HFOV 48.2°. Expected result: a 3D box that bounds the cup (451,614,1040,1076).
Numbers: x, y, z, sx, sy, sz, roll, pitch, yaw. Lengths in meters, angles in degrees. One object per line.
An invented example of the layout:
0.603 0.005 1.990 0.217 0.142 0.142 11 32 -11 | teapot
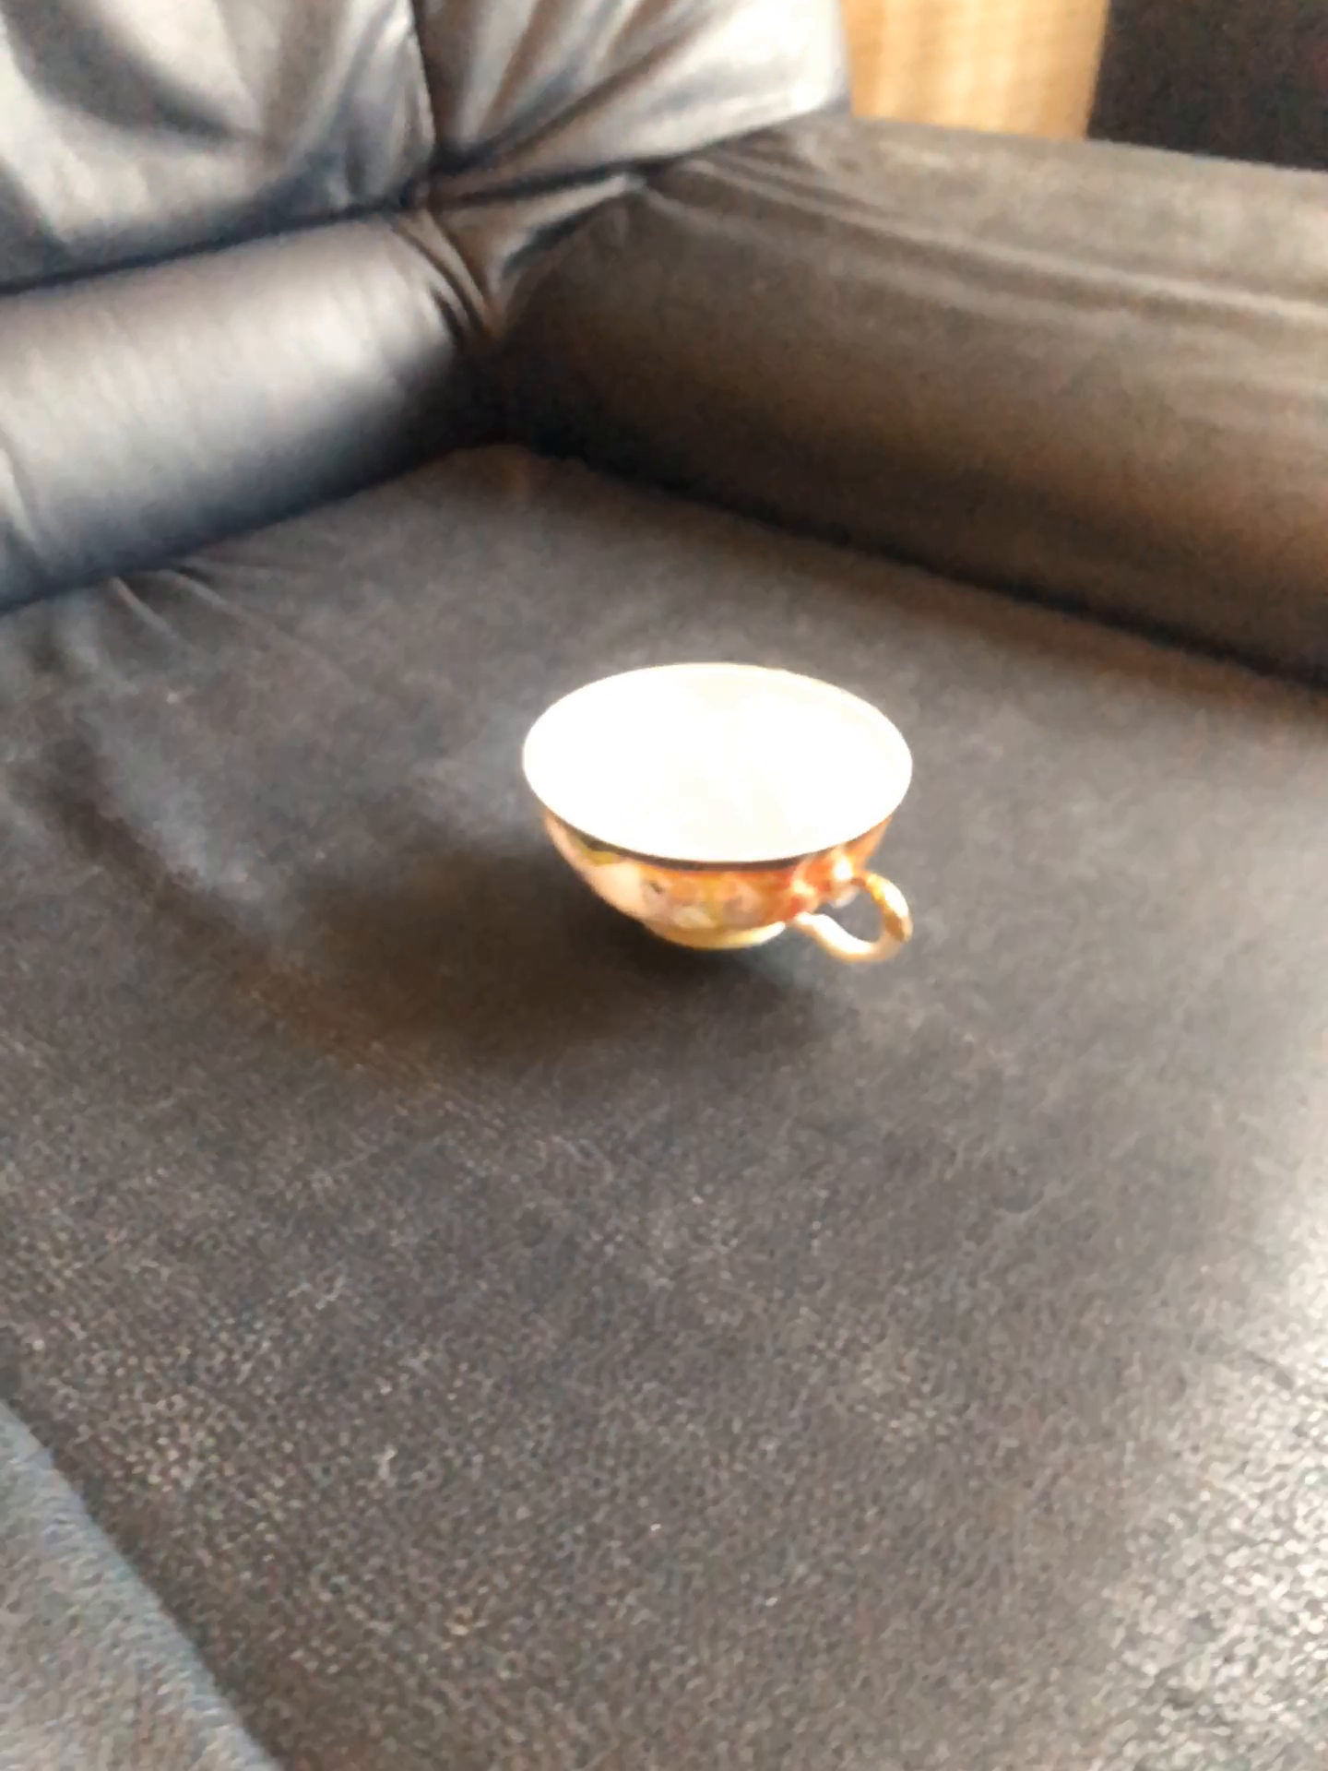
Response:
0.019 -0.018 0.380 0.107 0.041 0.100 2 36 -2 | cup
